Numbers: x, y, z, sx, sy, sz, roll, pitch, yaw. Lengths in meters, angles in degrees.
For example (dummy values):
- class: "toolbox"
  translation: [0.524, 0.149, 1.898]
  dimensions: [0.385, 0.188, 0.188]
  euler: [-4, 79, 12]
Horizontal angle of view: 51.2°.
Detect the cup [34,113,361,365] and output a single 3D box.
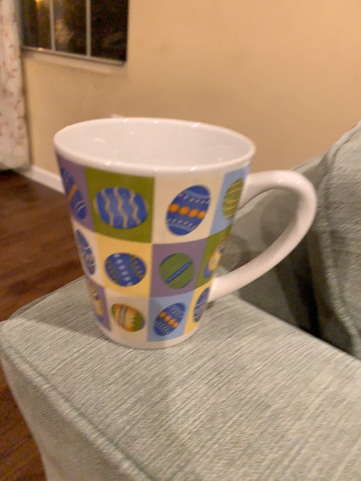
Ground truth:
- class: "cup"
  translation: [0.004, -0.008, 0.191]
  dimensions: [0.123, 0.087, 0.096]
  euler: [0, 28, -9]
